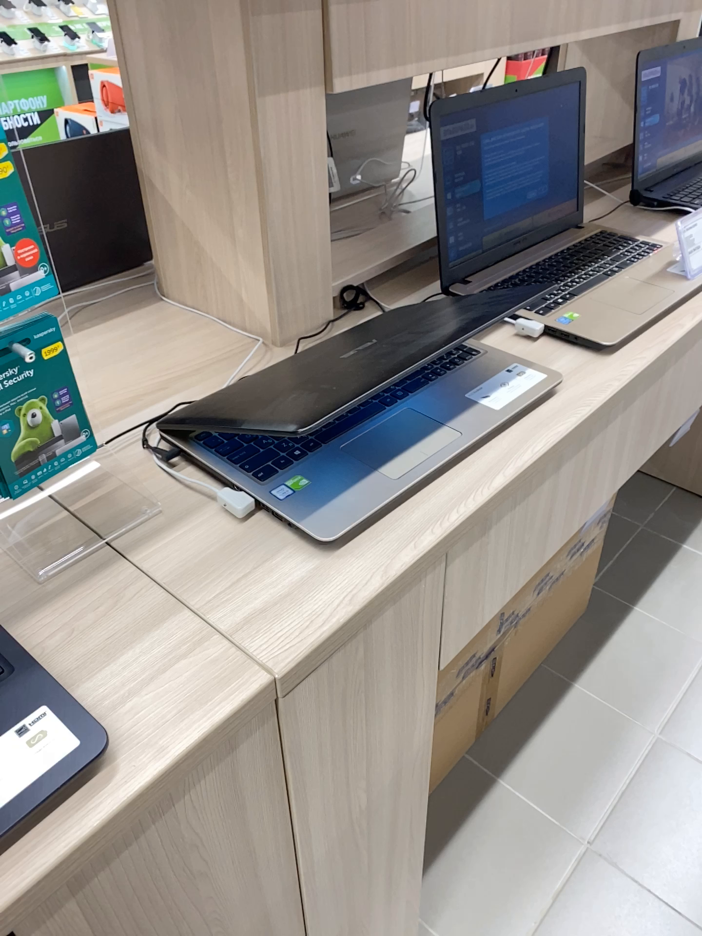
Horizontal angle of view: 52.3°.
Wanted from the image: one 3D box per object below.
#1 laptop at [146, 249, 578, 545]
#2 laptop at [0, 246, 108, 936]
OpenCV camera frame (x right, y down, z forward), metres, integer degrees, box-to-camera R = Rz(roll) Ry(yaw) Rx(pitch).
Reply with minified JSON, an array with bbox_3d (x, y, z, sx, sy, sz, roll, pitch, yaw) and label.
[{"bbox_3d":[0.025,-0.105,0.747,0.241,0.094,0.382,30,45,34],"label":"laptop"},{"bbox_3d":[-0.408,0.105,0.337,0.318,0.235,0.421,28,45,34],"label":"laptop"}]
